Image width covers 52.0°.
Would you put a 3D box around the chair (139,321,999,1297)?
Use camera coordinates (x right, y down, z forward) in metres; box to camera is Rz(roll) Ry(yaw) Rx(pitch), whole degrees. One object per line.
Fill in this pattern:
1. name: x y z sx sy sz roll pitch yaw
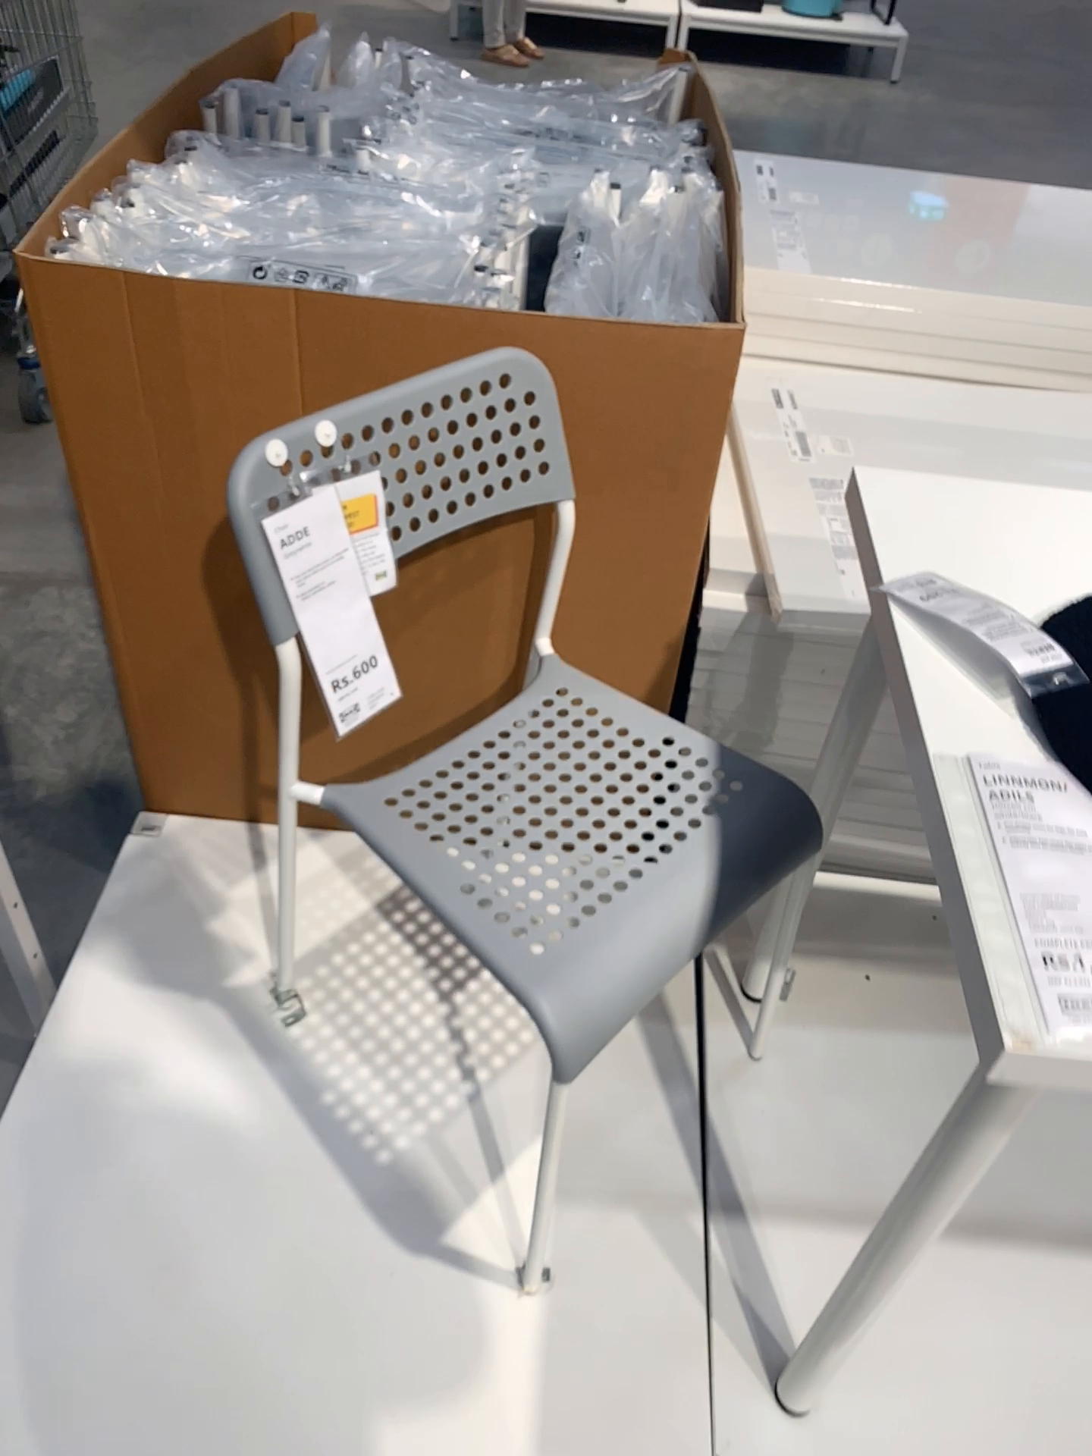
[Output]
1. chair: -0.004 0.073 1.114 0.501 0.688 0.461 36 50 28
